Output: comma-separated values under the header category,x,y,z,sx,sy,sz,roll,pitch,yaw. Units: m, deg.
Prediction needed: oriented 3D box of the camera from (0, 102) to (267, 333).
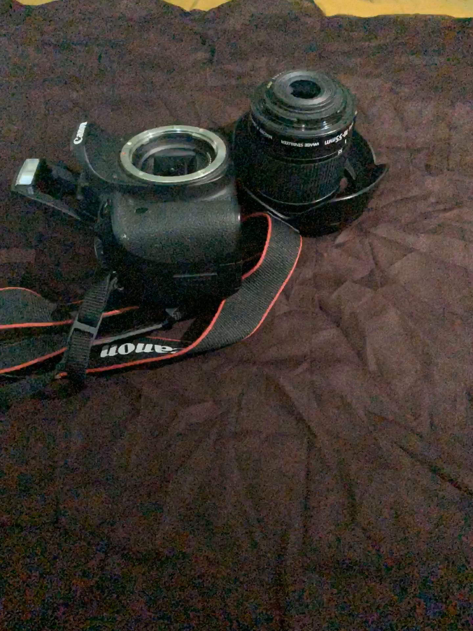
category,x,y,z,sx,sy,sz,roll,pitch,yaw
camera,-0.066,-0.072,0.332,0.150,0.082,0.147,-2,46,-5
